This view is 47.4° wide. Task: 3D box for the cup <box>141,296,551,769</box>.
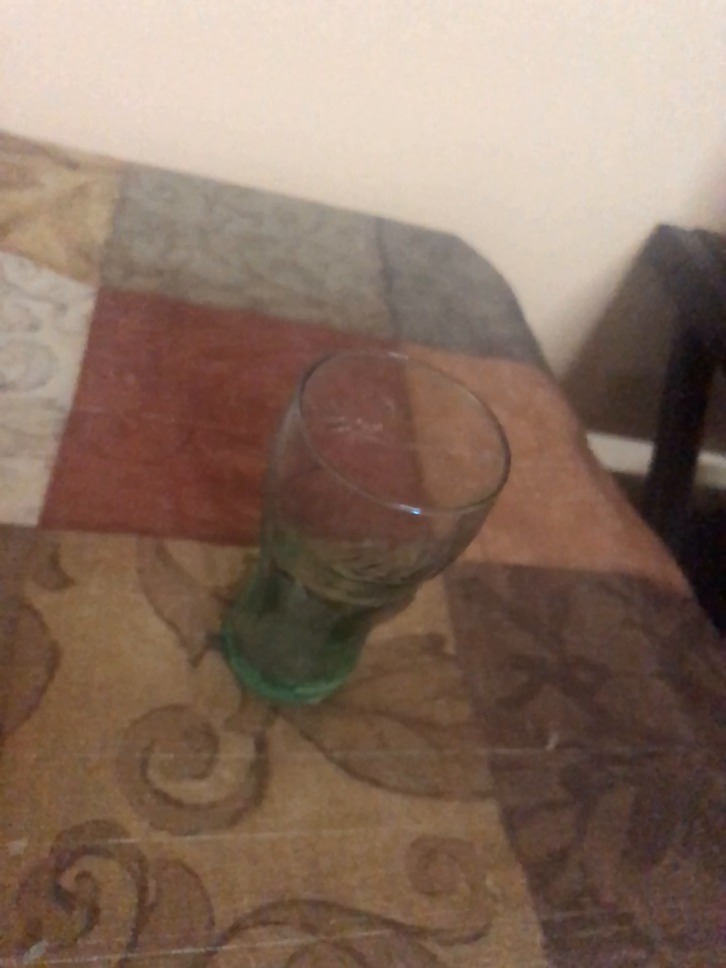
[{"bbox_3d":[-0.009,0.016,0.256,0.070,0.110,0.070,14,42,-14],"label":"cup"}]
